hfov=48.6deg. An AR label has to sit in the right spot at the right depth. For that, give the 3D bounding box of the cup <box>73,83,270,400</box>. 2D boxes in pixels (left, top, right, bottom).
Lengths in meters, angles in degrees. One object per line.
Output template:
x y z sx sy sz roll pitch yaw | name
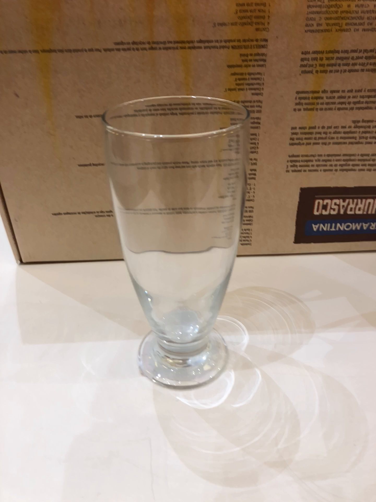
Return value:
-0.008 -0.001 0.274 0.090 0.189 0.081 -3 32 -2 | cup
